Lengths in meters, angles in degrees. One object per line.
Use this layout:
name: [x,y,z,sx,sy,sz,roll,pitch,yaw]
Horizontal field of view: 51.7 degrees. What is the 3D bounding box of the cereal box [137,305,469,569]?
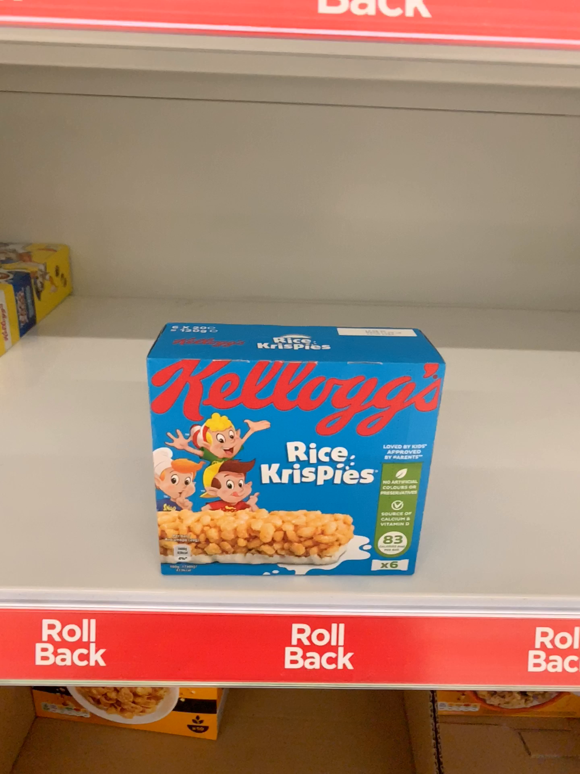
cereal box: [0.003,0.028,0.319,0.150,0.129,0.050,1,24,-3]
